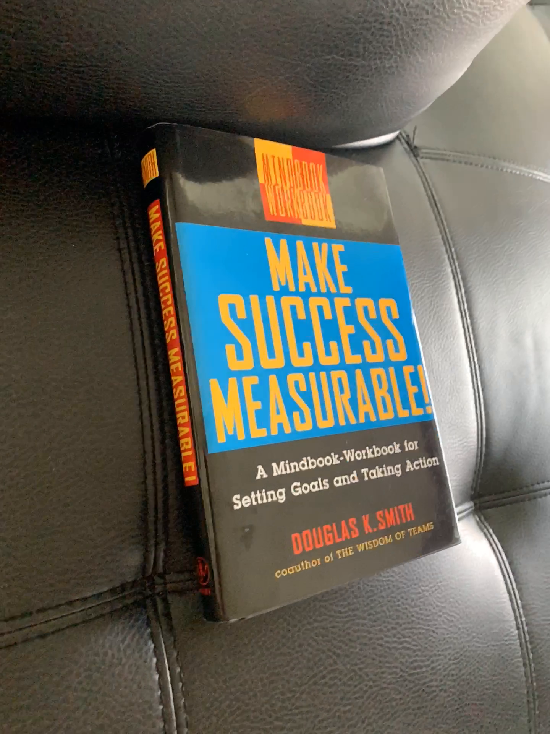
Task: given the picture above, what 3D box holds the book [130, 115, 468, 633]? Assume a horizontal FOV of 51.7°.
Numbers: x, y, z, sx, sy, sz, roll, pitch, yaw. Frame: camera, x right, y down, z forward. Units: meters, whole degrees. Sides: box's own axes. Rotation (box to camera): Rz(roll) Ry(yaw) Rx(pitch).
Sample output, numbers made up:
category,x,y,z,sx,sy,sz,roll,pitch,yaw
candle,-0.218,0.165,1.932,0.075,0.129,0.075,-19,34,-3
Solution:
category,x,y,z,sx,sy,sz,roll,pitch,yaw
book,0.018,-0.006,0.316,0.165,0.030,0.240,-3,79,-34
